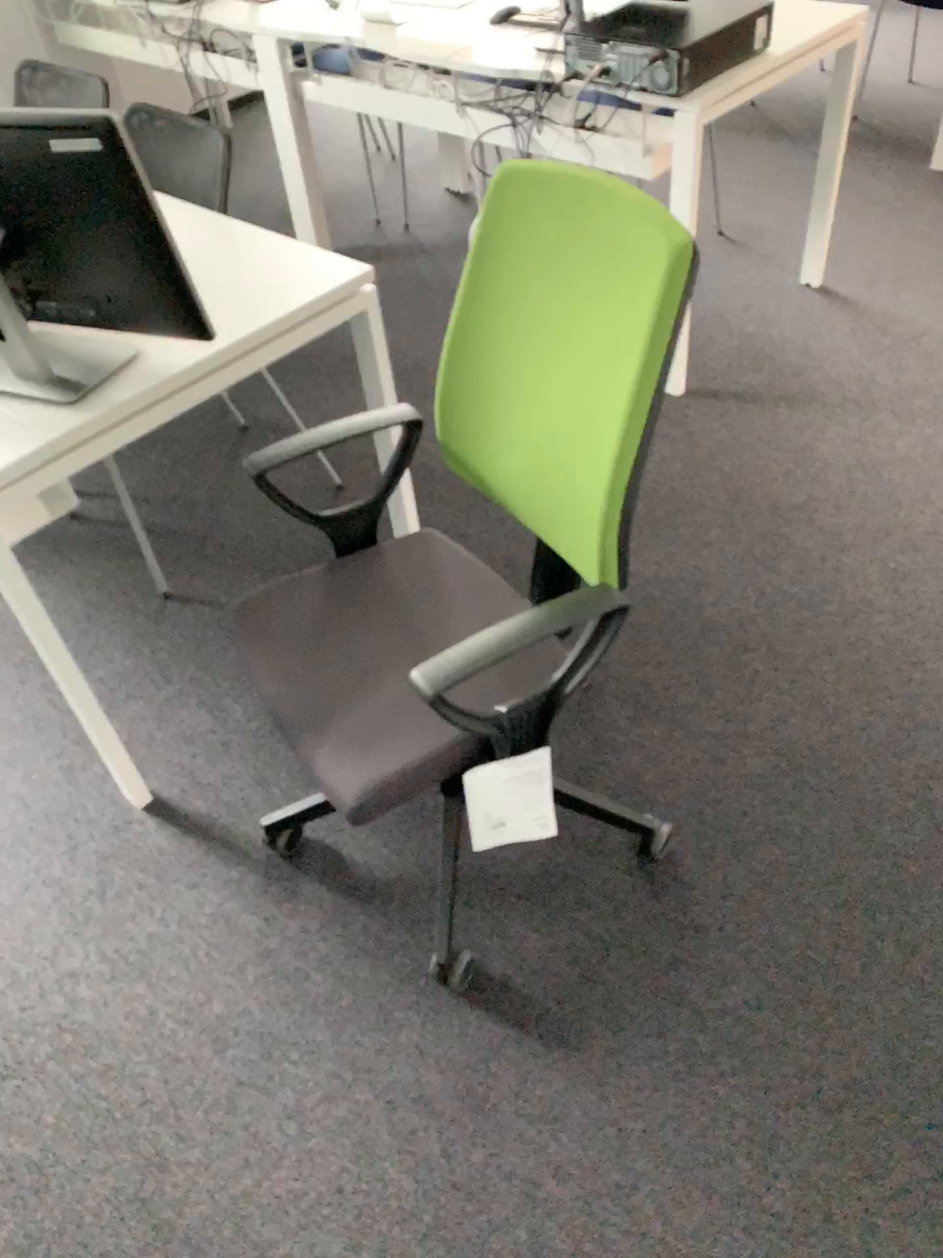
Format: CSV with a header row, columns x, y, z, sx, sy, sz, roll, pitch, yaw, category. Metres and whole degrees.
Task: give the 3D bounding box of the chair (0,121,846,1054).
x,y,z,sx,sy,sz,roll,pitch,yaw,category
-0.041,-0.043,1.454,0.761,1.044,0.623,-28,48,-20,chair
